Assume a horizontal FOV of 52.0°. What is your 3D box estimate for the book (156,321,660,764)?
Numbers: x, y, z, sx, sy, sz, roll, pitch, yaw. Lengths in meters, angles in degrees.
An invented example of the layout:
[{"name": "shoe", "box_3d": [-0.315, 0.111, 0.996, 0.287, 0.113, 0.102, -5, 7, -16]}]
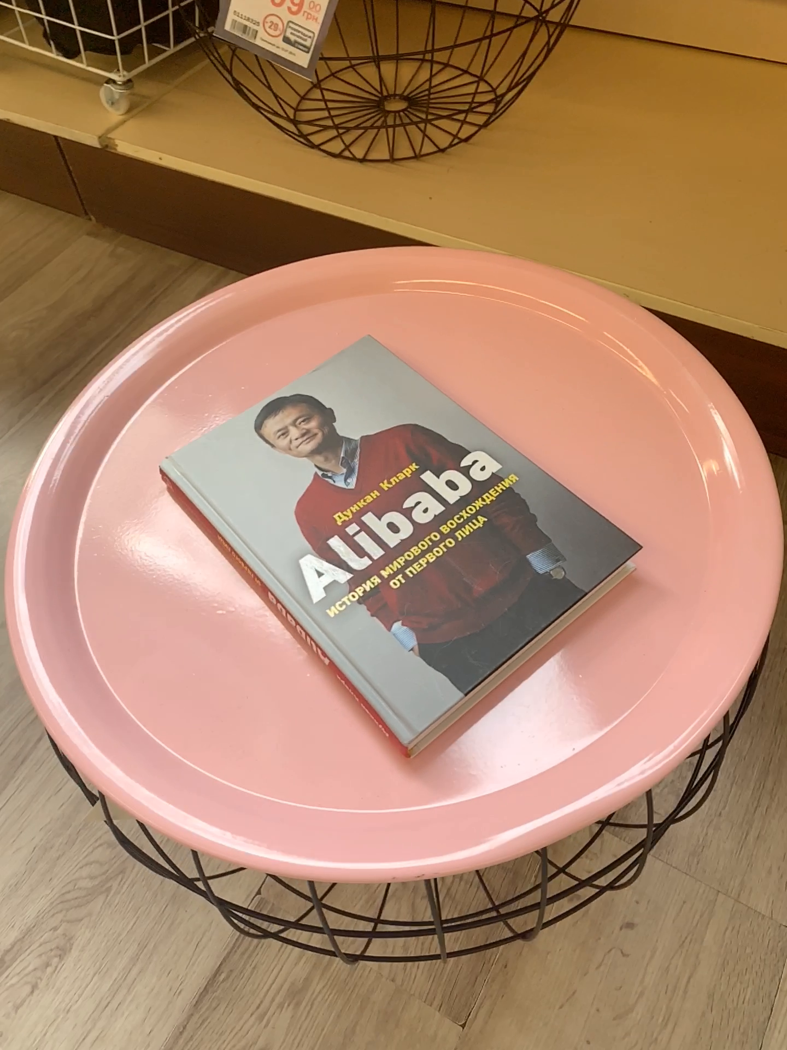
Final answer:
[{"name": "book", "box_3d": [0.000, -0.011, 0.477, 0.180, 0.026, 0.241, -35, 59, -19]}]
